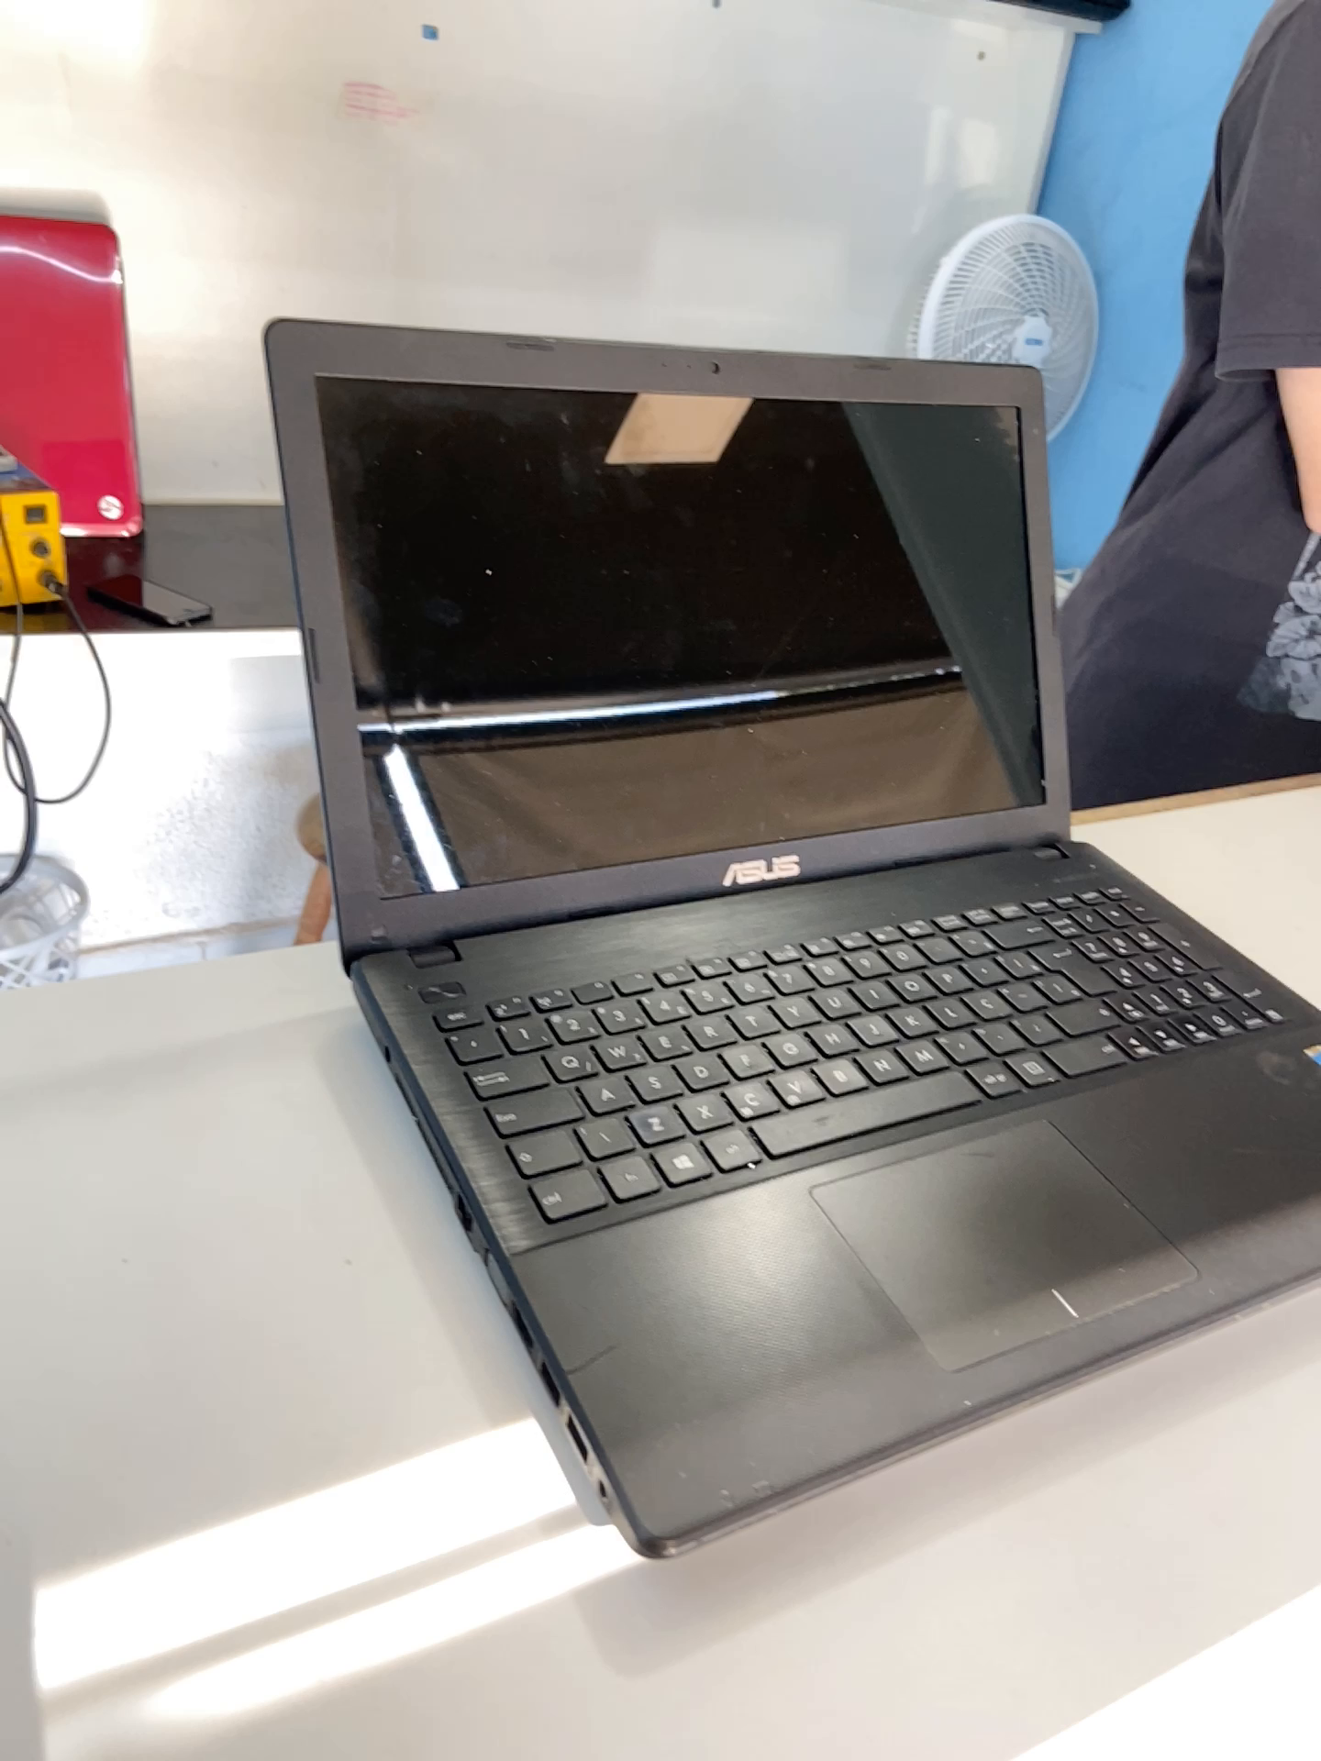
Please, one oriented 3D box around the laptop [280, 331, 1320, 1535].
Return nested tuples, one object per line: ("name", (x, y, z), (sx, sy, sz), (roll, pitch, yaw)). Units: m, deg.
("laptop", (0.093, -0.047, 0.492), (0.368, 0.201, 0.362), (-9, 34, -27))
